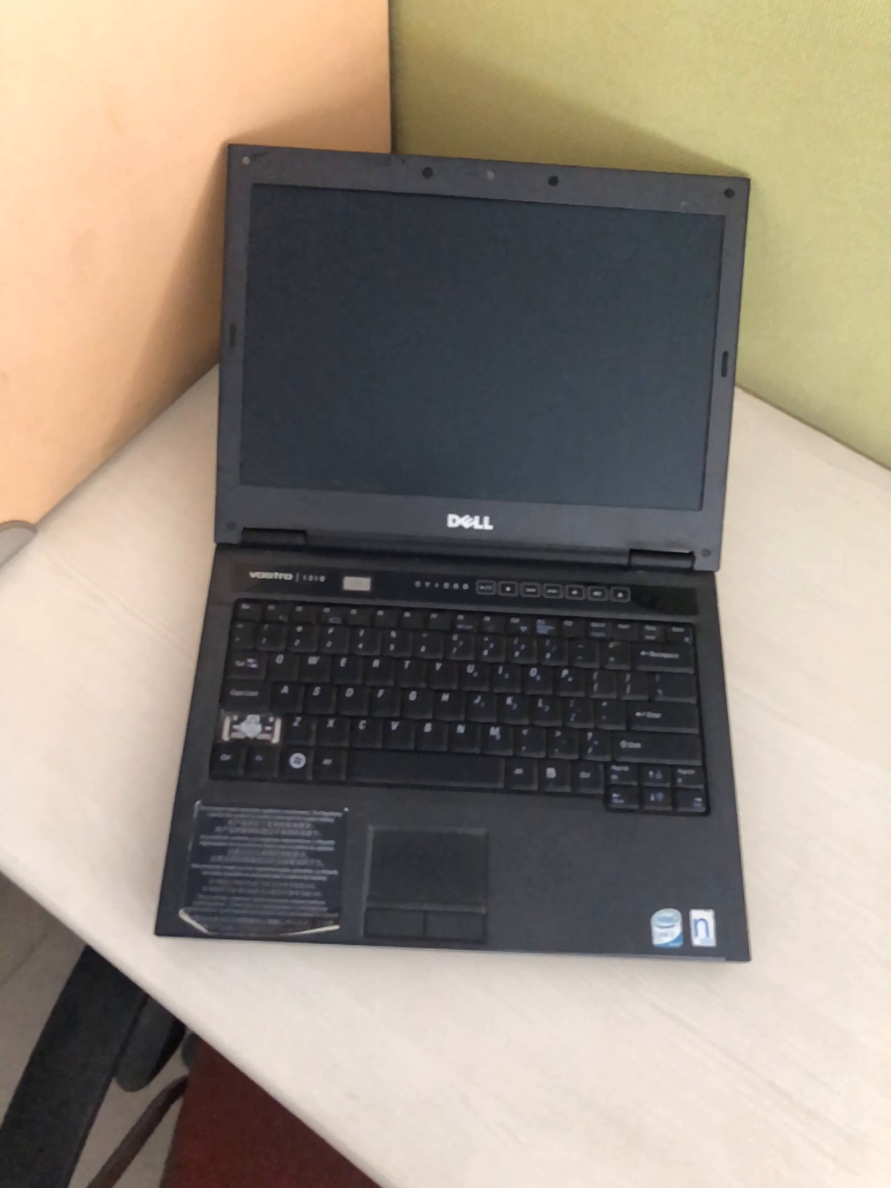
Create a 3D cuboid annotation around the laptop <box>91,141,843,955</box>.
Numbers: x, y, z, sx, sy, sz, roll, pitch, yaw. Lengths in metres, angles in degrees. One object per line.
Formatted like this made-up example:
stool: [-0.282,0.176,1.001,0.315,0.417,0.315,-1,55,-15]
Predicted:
laptop: [0.016,-0.039,0.548,0.305,0.125,0.431,3,64,-2]
